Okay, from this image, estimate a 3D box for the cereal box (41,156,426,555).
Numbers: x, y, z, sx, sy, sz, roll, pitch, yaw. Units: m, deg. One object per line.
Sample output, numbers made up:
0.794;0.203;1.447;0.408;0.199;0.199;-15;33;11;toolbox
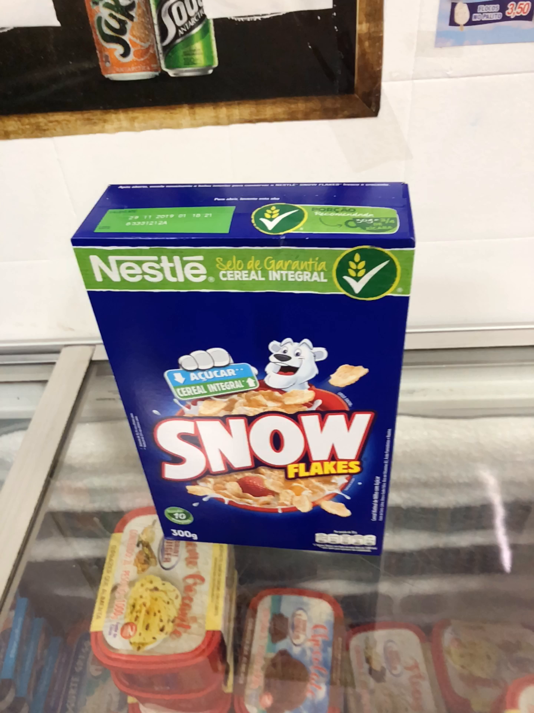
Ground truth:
-0.006;0.016;0.368;0.170;0.258;0.070;2;42;8;cereal box
